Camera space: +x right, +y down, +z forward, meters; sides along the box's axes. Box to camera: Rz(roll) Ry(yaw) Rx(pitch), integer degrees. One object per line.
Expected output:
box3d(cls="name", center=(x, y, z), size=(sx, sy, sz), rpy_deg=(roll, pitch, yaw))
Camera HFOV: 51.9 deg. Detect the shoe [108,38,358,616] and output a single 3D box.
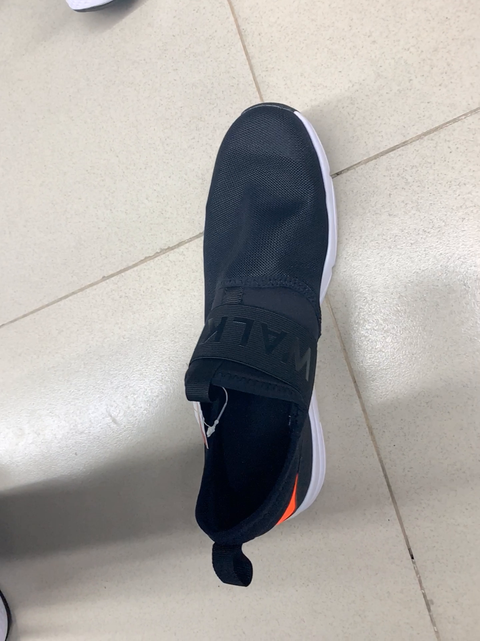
box3d(cls="shoe", center=(0.004, 0.004, 0.317), size=(0.110, 0.120, 0.280), rpy_deg=(-1, 92, 26))
